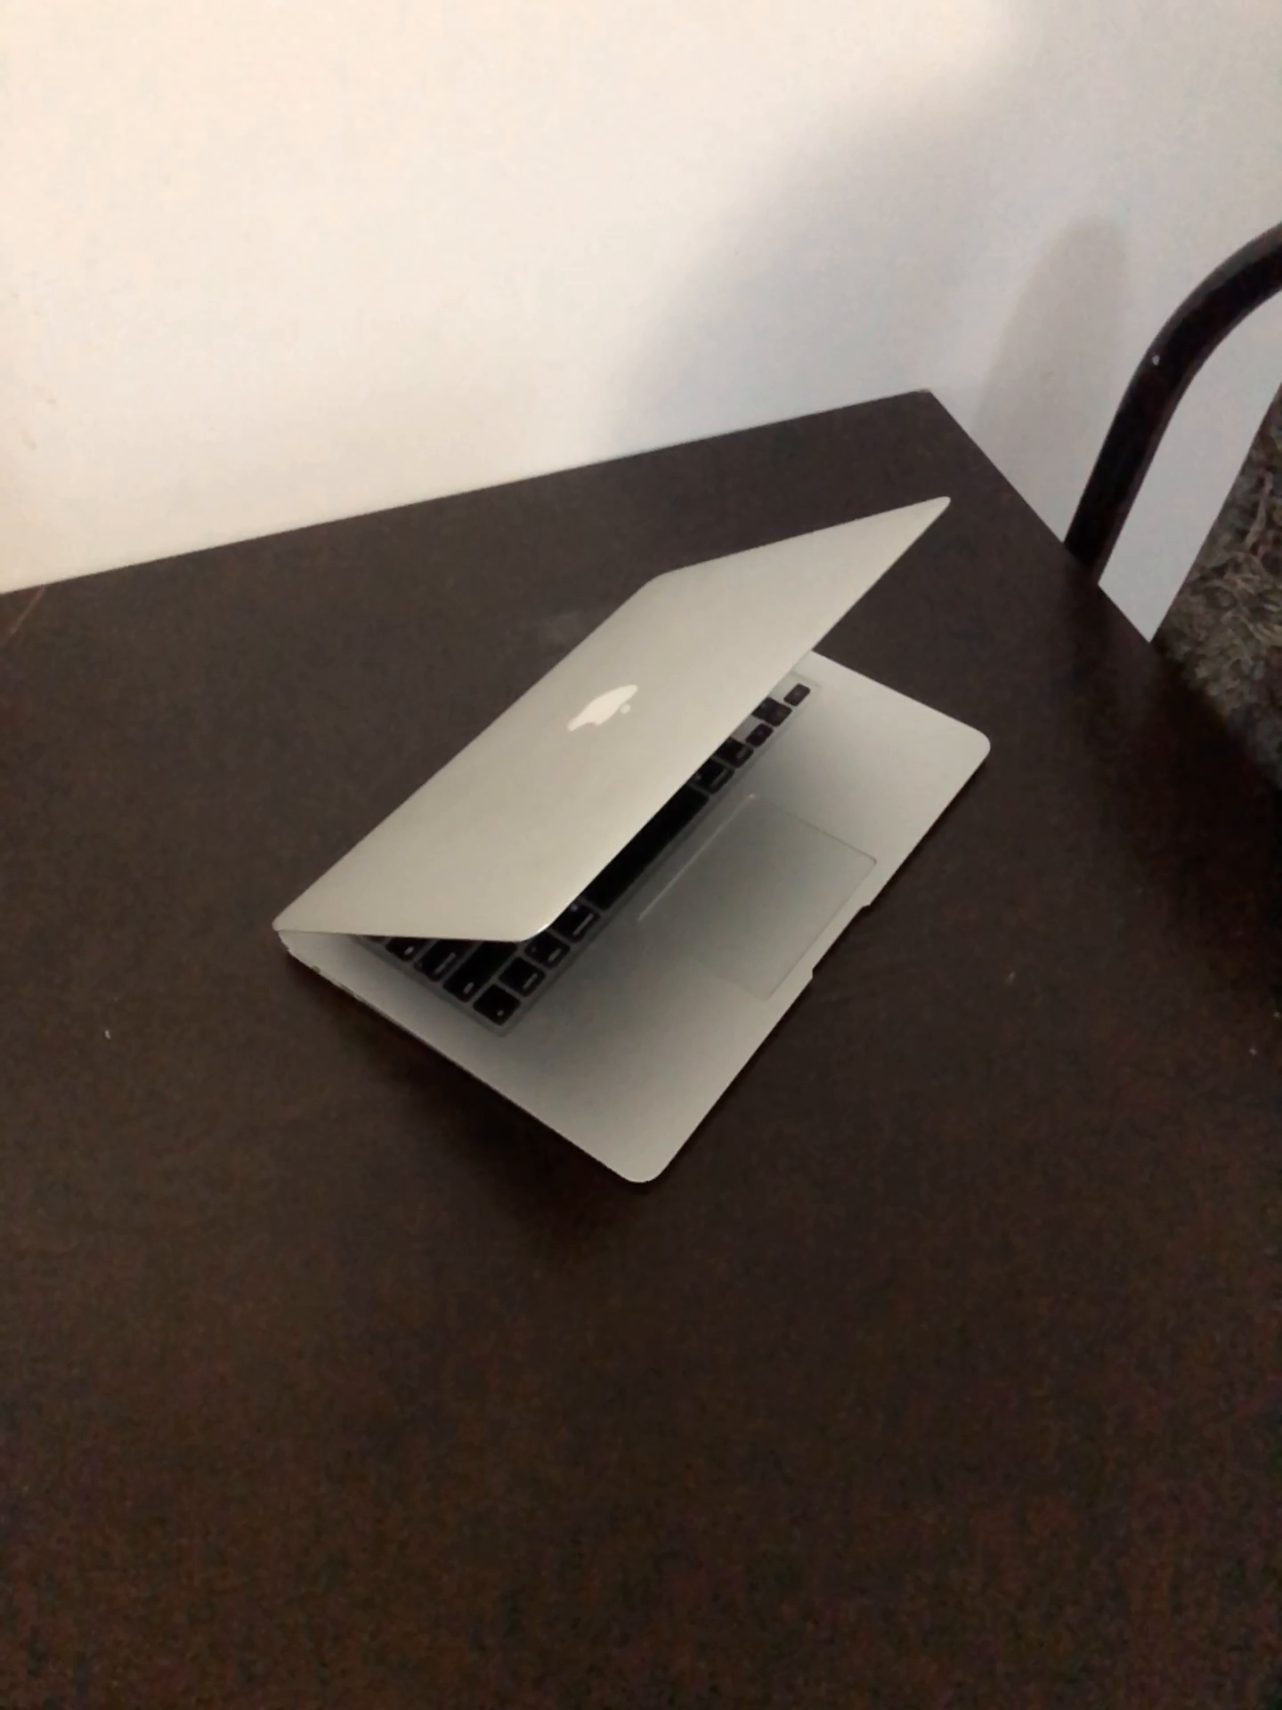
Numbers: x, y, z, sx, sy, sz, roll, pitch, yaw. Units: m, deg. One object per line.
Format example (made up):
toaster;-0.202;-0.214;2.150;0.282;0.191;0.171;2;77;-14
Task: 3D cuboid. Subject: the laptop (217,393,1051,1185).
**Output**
laptop;0.010;-0.055;0.685;0.226;0.131;0.331;29;55;23
